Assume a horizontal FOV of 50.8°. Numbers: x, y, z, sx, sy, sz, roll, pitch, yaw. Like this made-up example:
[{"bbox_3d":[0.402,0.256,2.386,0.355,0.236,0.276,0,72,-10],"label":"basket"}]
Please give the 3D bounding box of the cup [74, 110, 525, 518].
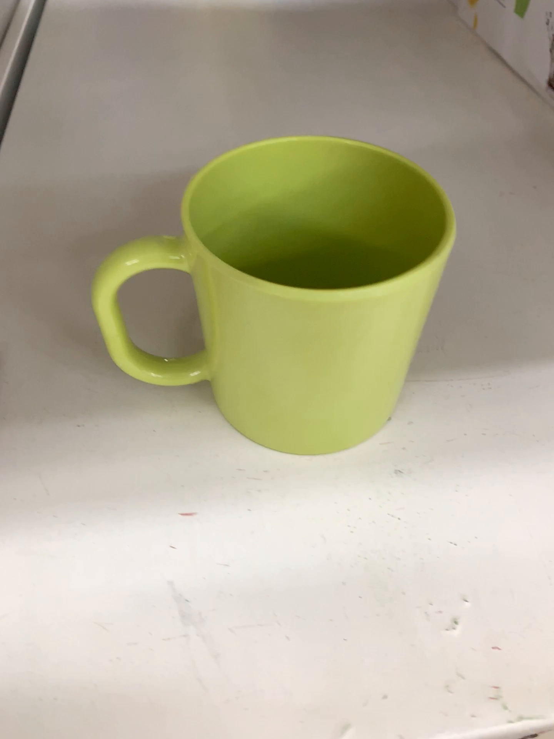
[{"bbox_3d":[-0.001,-0.019,0.165,0.089,0.063,0.078,-13,50,-11],"label":"cup"}]
